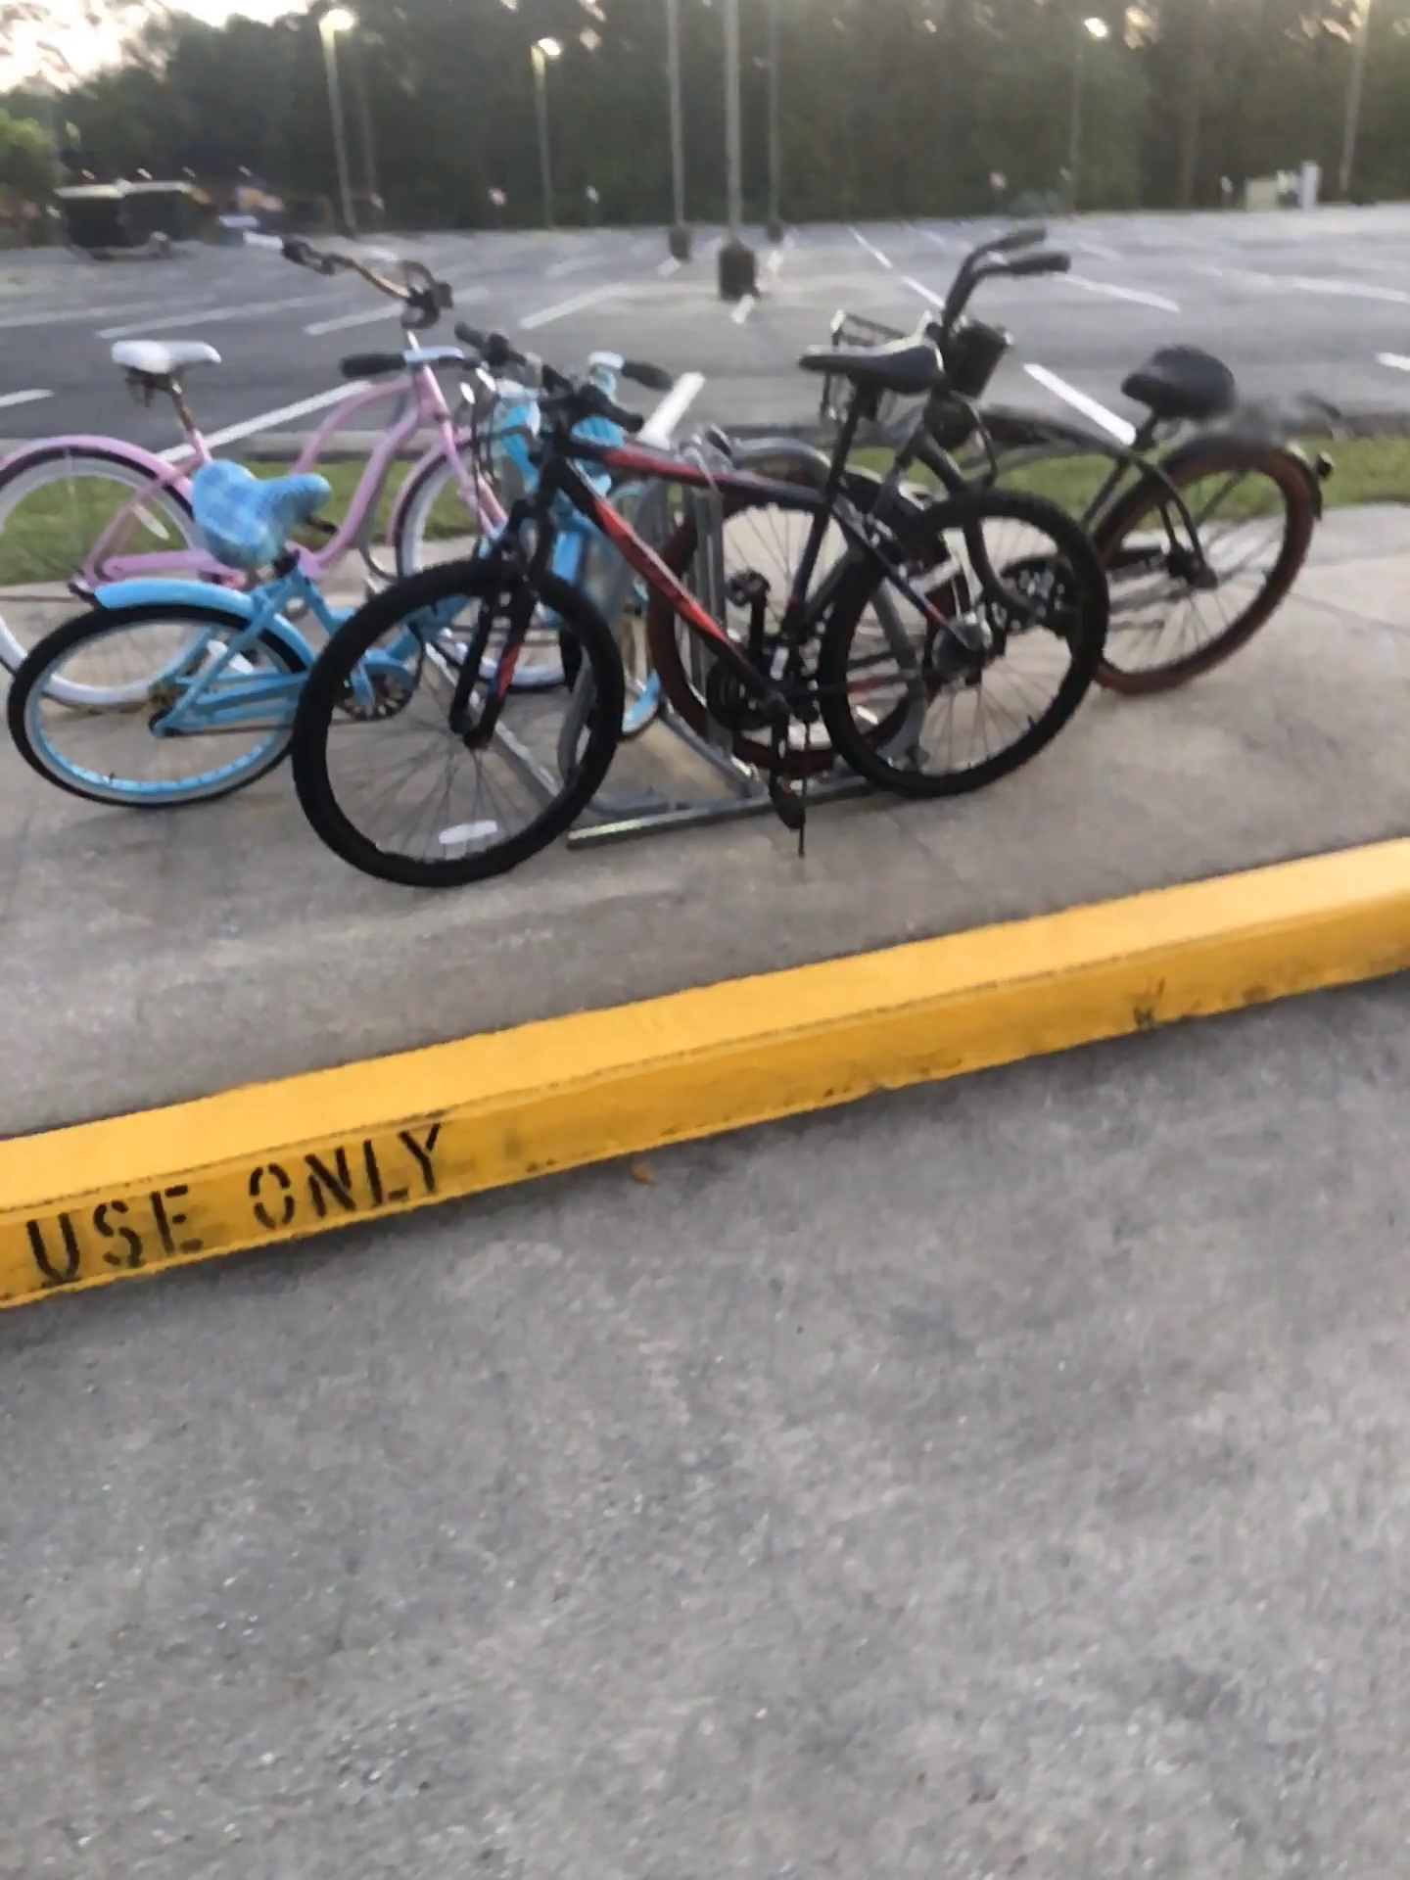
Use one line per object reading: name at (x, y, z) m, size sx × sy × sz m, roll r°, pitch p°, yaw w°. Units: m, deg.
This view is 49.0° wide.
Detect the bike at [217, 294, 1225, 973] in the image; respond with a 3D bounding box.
bike at (0.061, -0.645, 2.827) m, size 1.631 × 0.932 × 0.627 m, roll -12°, pitch 26°, yaw -22°
